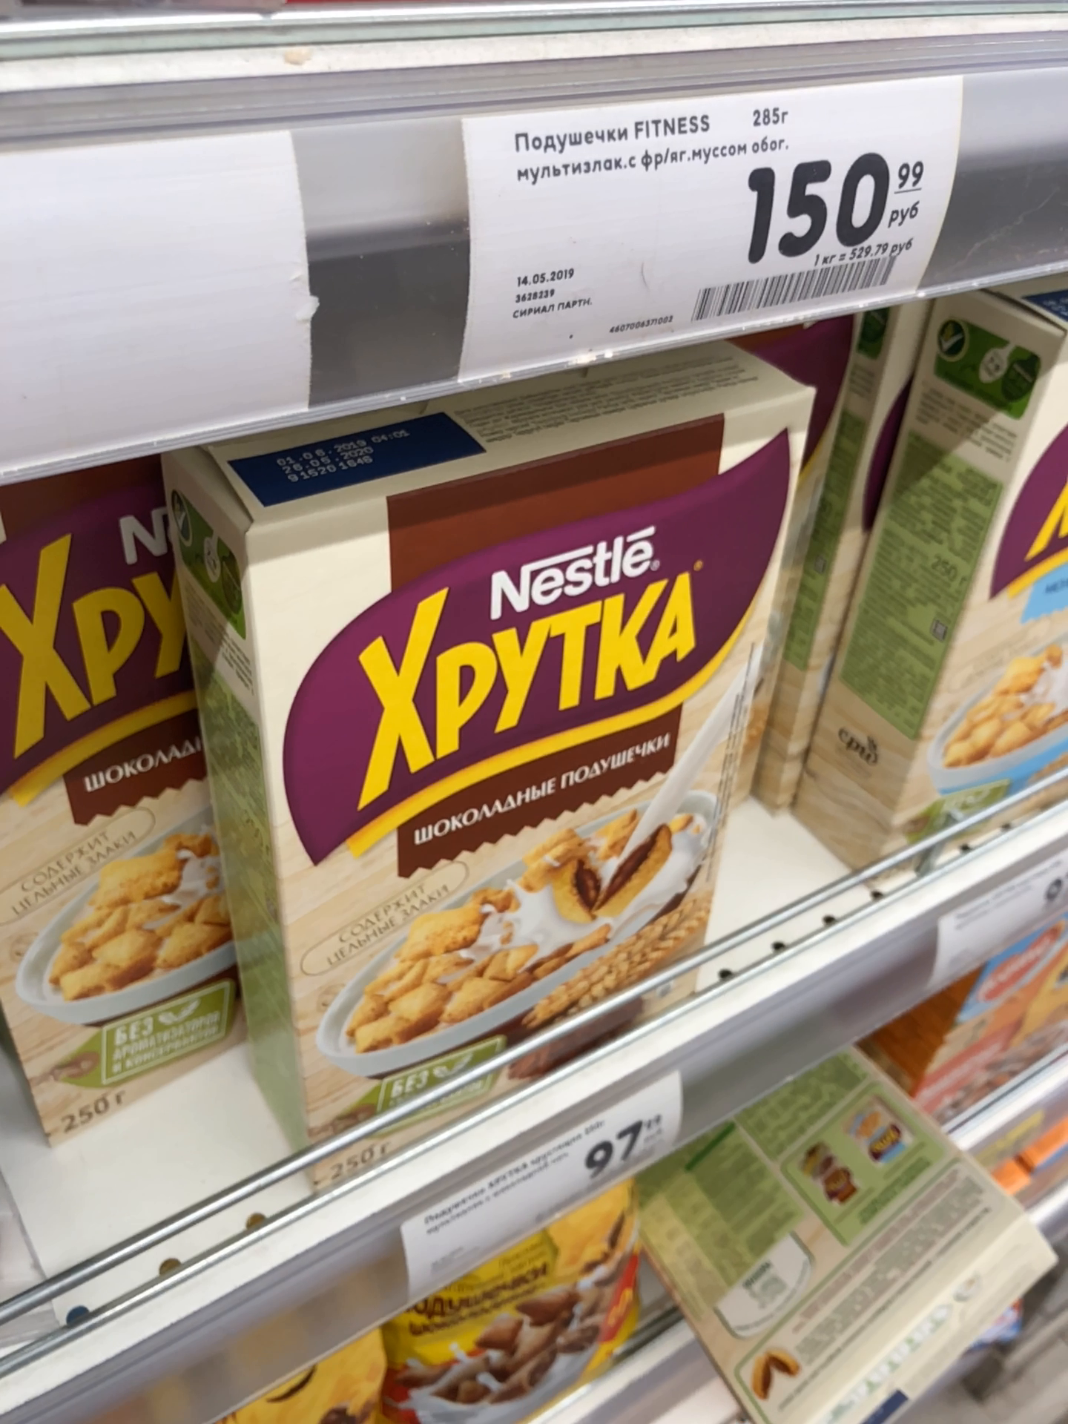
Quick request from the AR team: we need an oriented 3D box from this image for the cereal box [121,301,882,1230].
[{"bbox_3d":[-0.004,0.020,0.312,0.160,0.219,0.040,-20,42,-27],"label":"cereal box"}]
